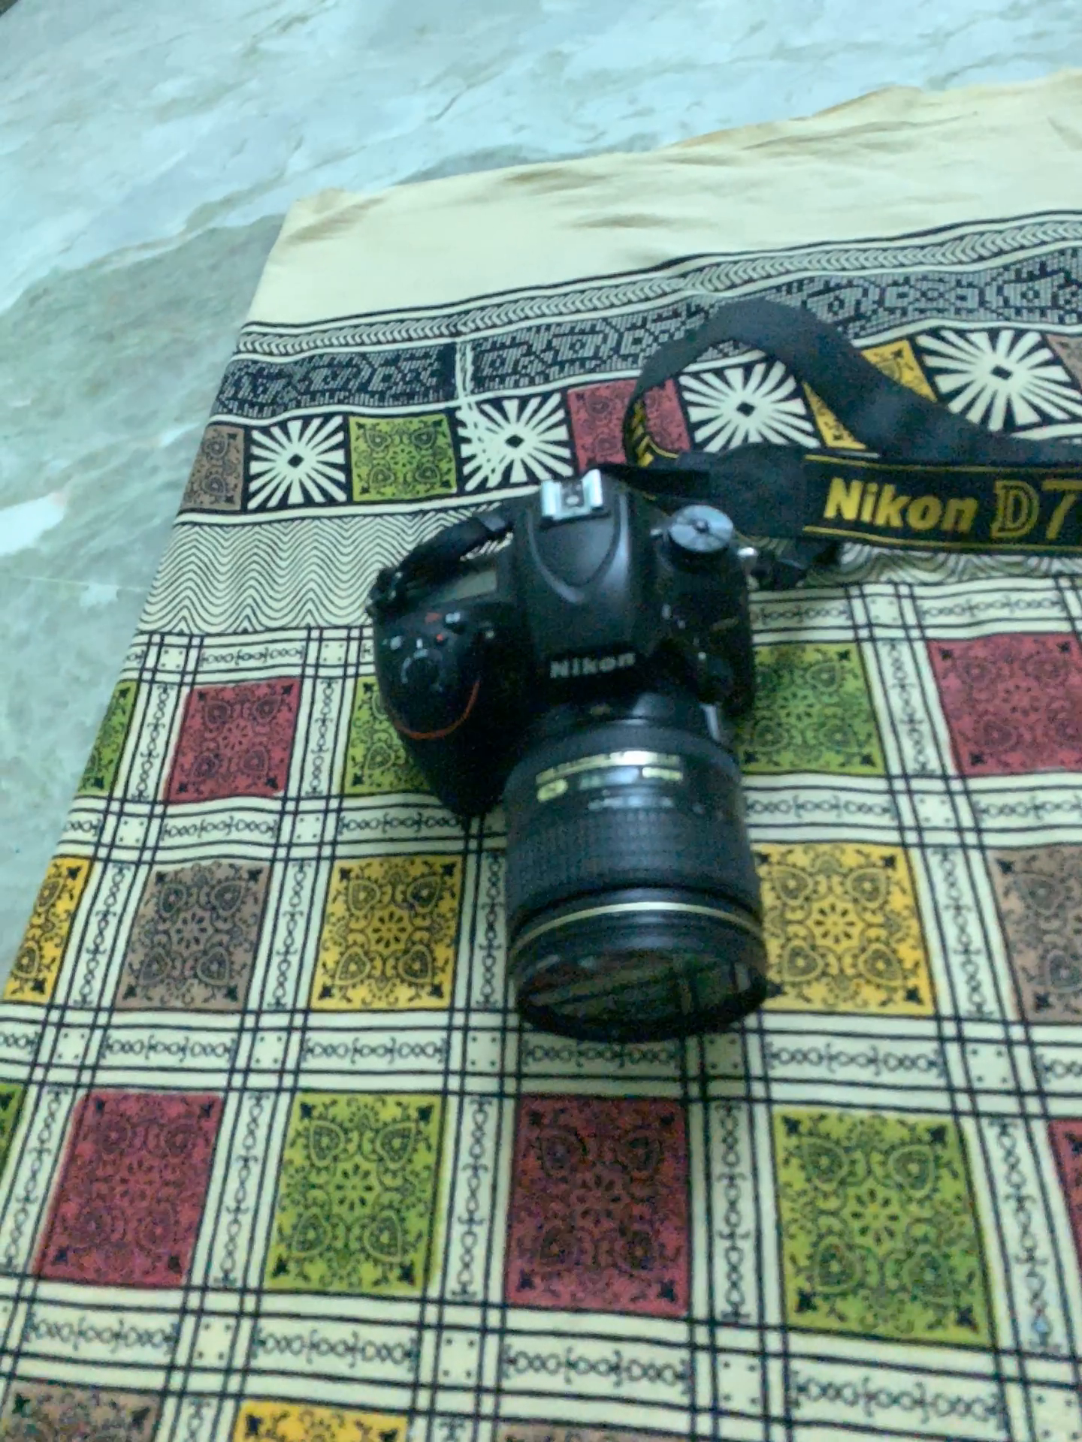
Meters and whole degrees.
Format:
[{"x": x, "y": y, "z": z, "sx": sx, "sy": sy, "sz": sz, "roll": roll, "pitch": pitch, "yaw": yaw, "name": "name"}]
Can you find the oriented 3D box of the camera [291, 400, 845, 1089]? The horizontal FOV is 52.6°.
[{"x": 0.012, "y": 0.006, "z": 0.368, "sx": 0.140, "sy": 0.100, "sz": 0.190, "roll": -9, "pitch": 52, "yaw": 9, "name": "camera"}]
